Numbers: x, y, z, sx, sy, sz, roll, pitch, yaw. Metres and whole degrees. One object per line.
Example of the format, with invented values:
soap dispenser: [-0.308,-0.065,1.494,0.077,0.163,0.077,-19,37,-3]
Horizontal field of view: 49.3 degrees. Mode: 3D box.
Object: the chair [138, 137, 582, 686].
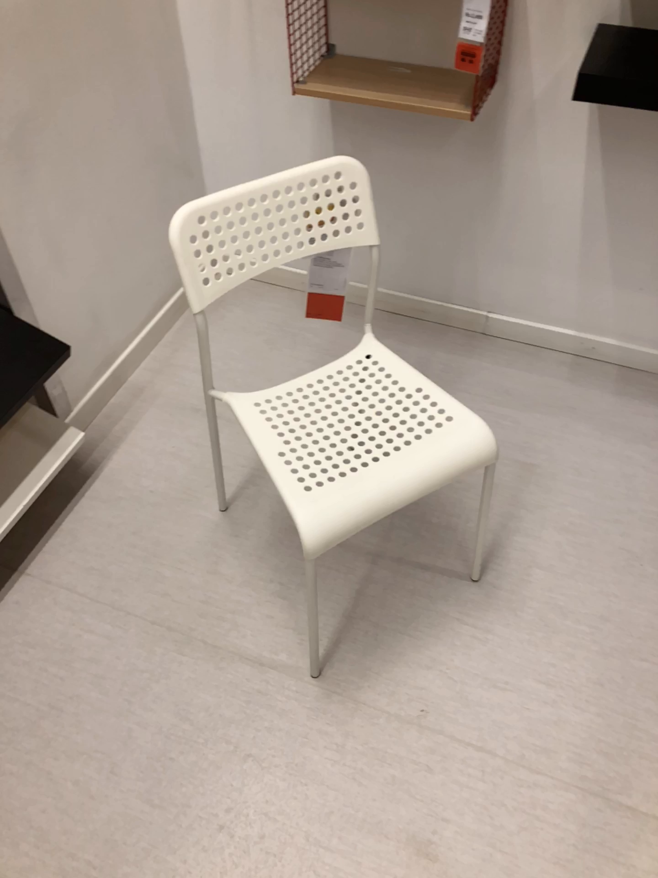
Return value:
chair: [0.028,-0.023,1.256,0.421,0.735,0.472,-25,52,-20]
